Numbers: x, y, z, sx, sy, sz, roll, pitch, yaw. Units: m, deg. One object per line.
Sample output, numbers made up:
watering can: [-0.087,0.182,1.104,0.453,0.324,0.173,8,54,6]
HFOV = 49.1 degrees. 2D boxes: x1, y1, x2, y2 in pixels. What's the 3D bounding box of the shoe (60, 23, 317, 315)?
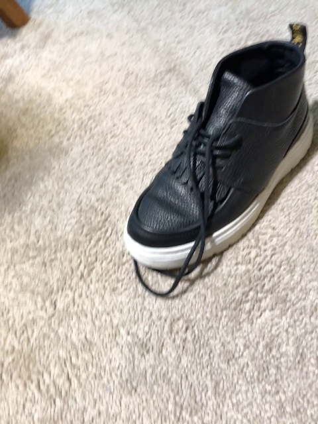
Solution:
shoe: [0.060,-0.050,0.335,0.262,0.111,0.107,-41,56,-16]
